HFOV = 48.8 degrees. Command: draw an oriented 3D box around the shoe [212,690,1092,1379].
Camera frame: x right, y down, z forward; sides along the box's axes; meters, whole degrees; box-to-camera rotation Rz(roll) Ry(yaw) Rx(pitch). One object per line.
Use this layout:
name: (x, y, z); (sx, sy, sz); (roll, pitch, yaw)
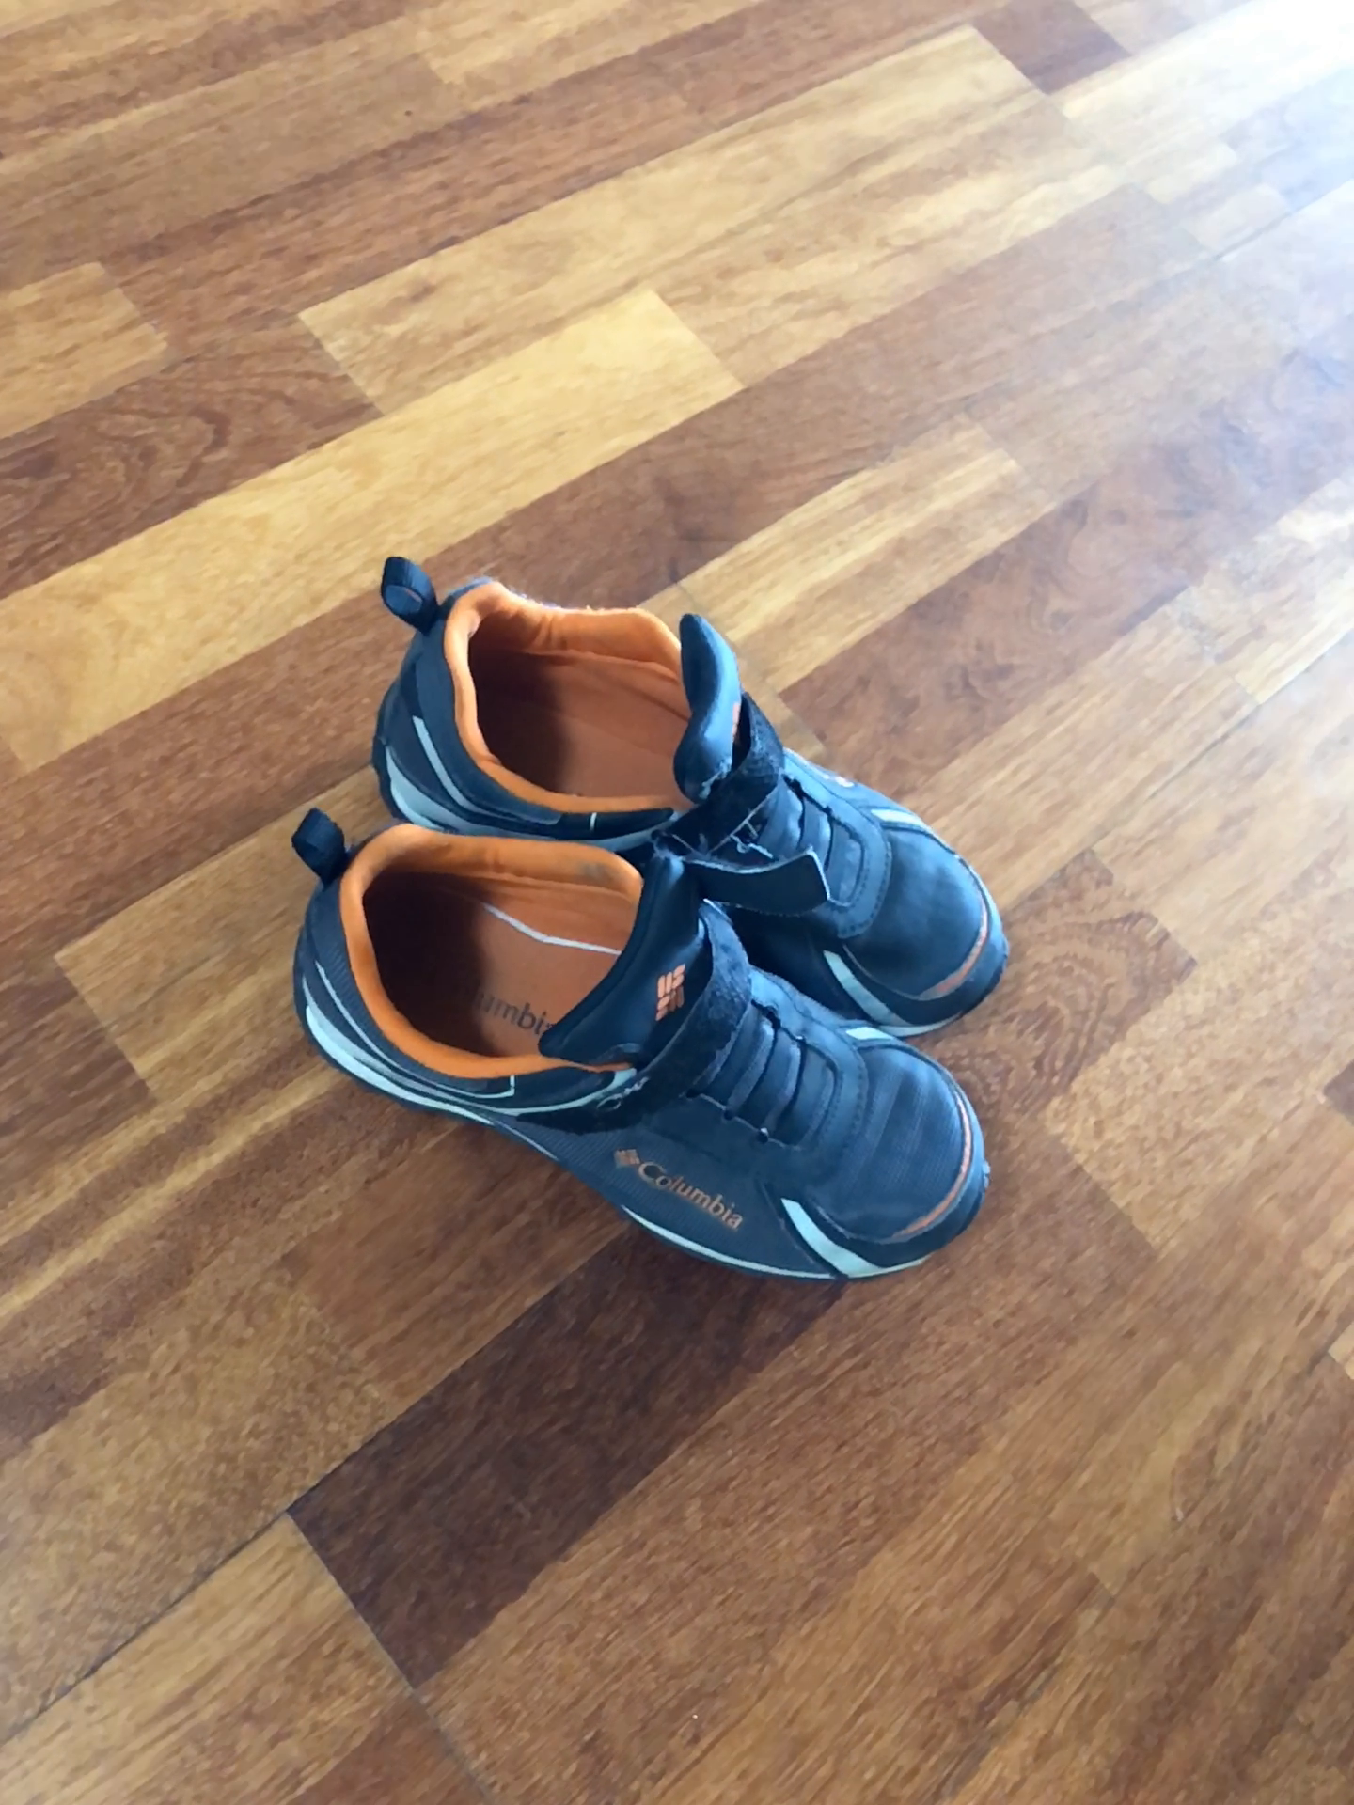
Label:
shoe: (-0.011, 0.049, 0.487); (0.247, 0.102, 0.097); (26, 63, 0)

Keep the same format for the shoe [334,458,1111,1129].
shoe: (0.010, -0.035, 0.570); (0.252, 0.127, 0.112); (26, 63, 0)
